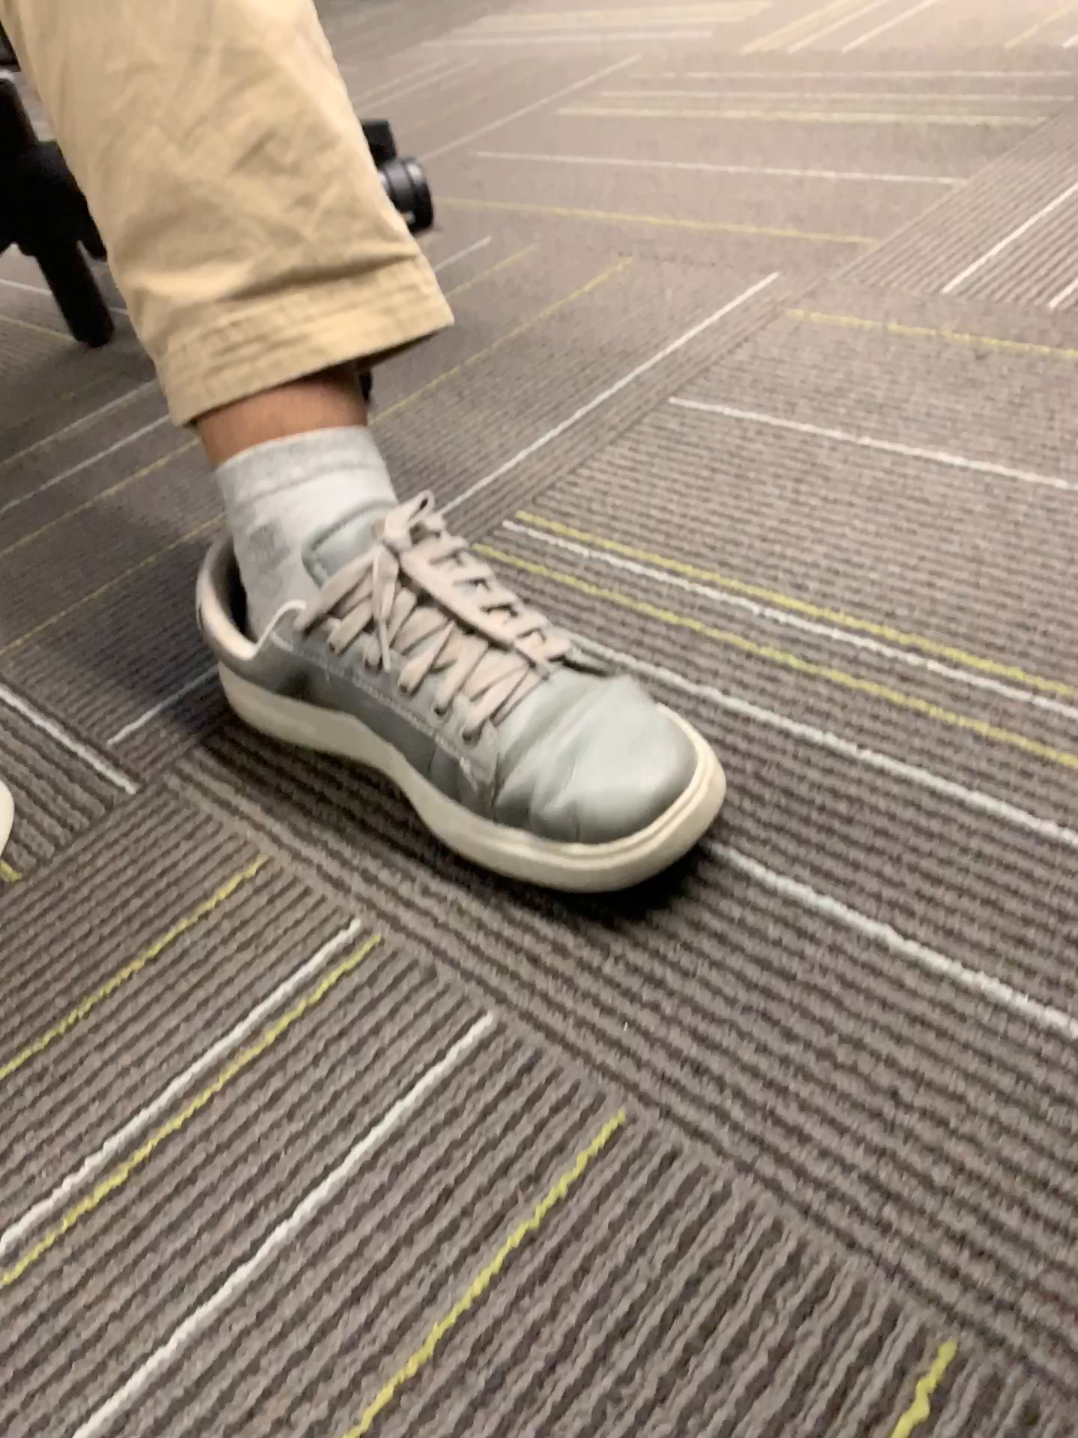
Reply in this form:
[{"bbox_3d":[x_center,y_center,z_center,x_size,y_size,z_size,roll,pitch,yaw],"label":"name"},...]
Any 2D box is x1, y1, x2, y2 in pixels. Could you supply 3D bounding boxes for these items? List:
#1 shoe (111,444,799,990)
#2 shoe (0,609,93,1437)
[{"bbox_3d":[-0.043,-0.020,0.491,0.281,0.109,0.120,23,52,36],"label":"shoe"},{"bbox_3d":[-0.287,0.104,0.412,0.120,0.139,0.272,-11,40,5],"label":"shoe"}]
